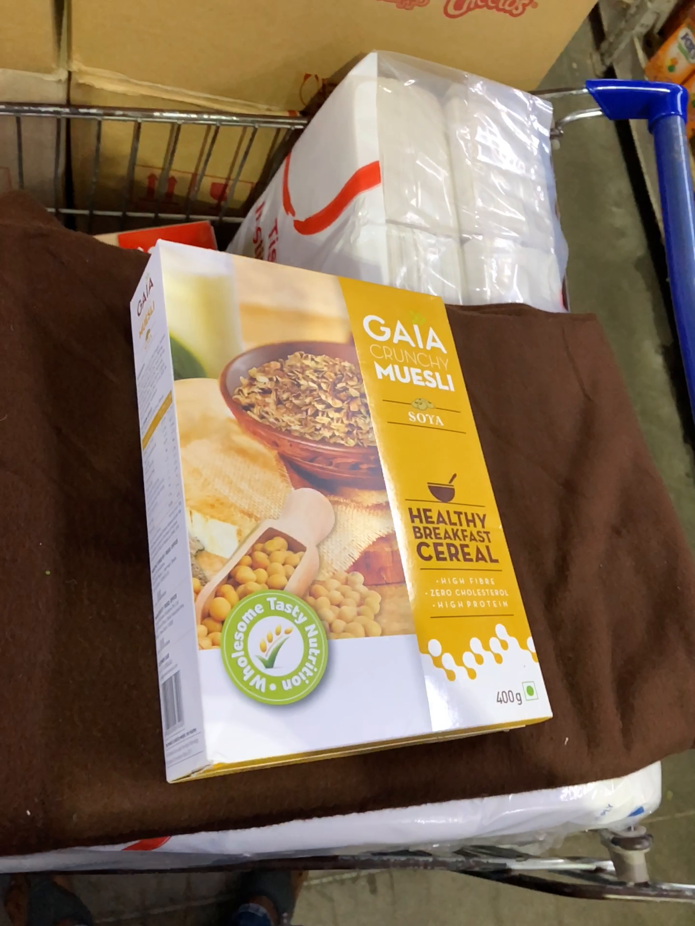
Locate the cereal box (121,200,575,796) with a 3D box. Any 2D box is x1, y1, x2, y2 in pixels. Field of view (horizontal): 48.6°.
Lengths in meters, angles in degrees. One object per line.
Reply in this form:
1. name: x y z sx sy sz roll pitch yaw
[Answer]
1. cereal box: -0.007 0.011 0.361 0.170 0.060 0.240 4 65 -30
